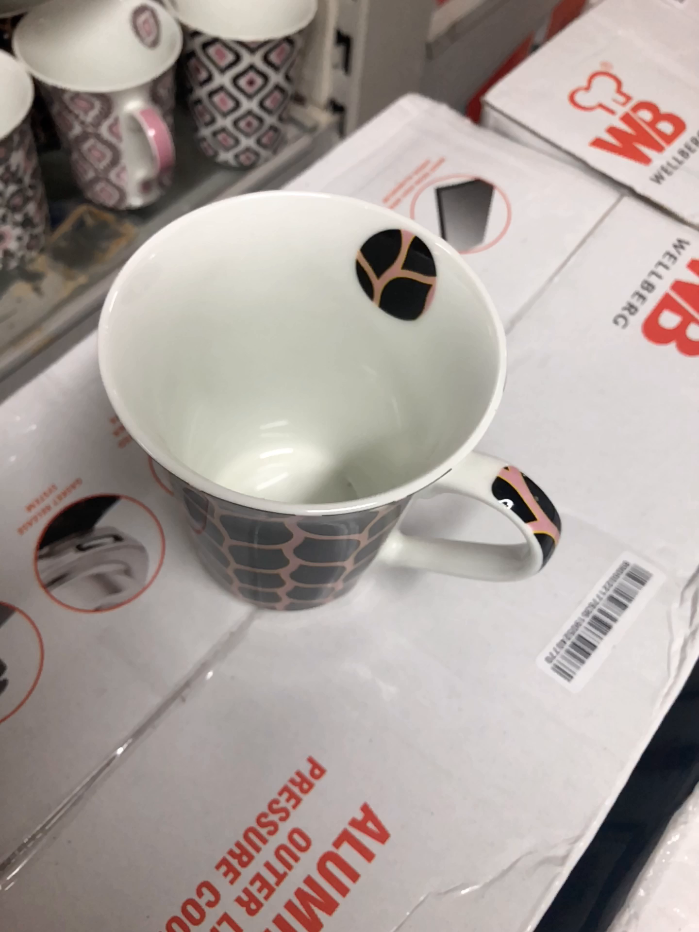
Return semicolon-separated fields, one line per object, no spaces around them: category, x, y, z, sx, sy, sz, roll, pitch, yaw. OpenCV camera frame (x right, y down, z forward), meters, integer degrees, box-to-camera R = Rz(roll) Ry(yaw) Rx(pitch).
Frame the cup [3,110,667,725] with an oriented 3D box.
cup;-0.003;-0.006;0.205;0.110;0.100;0.080;28;64;10
